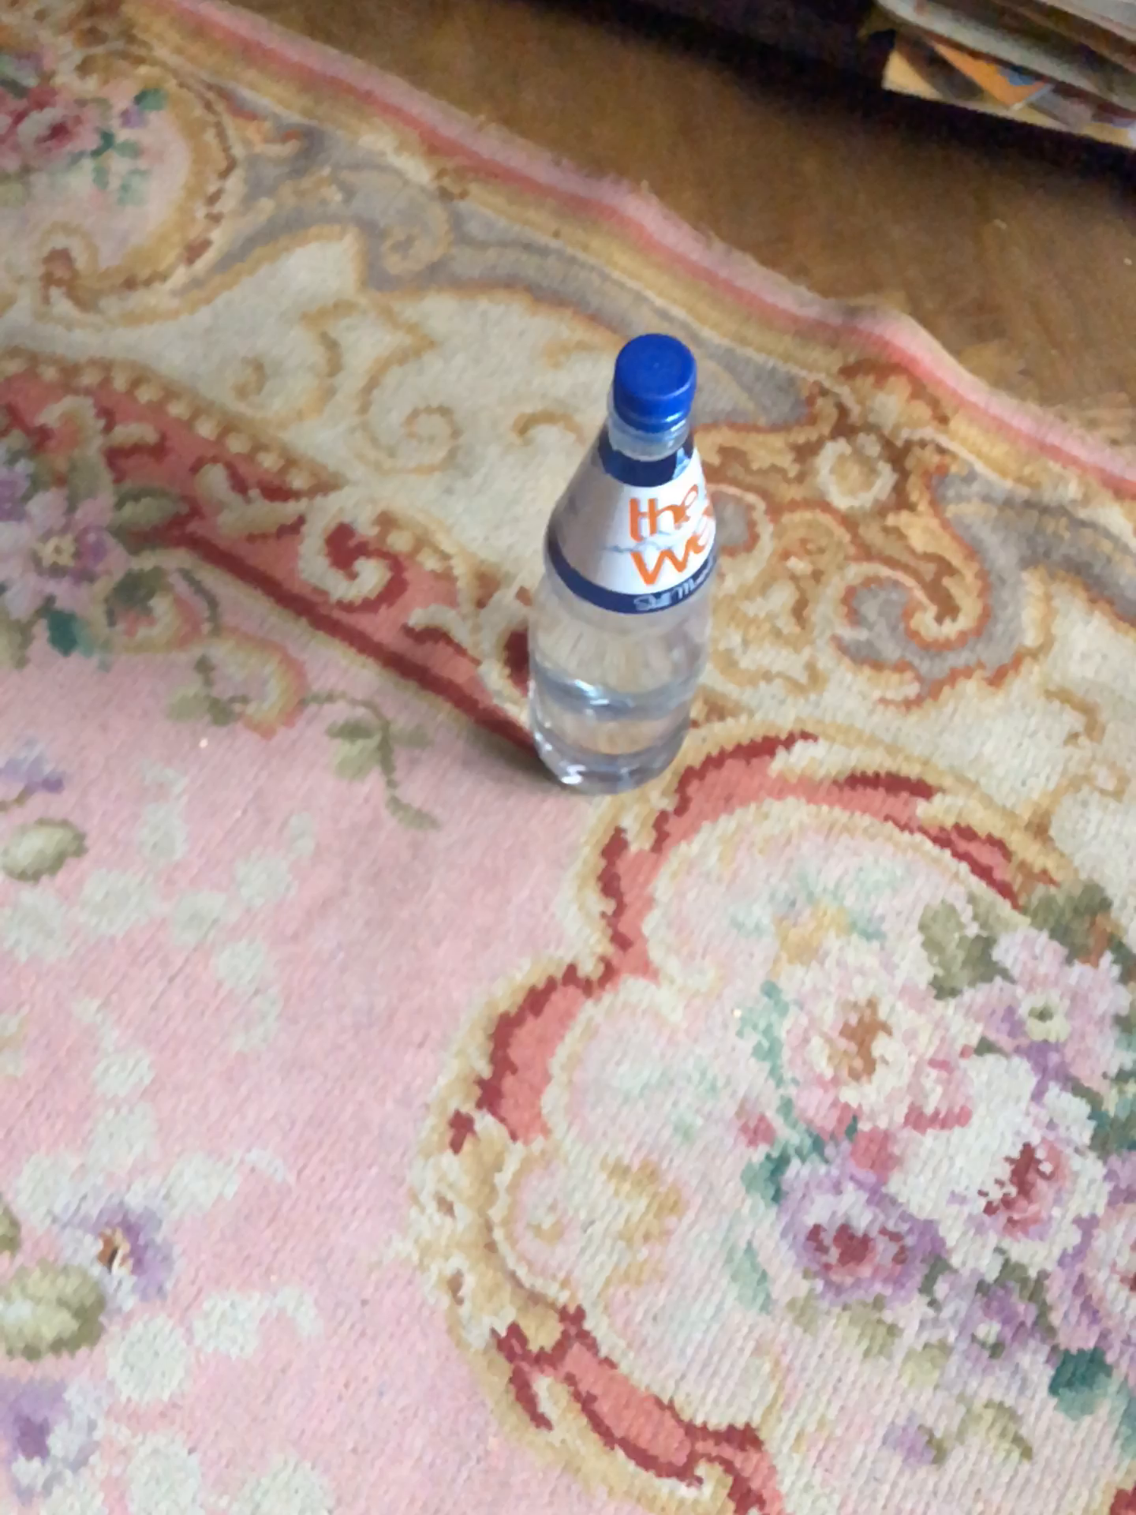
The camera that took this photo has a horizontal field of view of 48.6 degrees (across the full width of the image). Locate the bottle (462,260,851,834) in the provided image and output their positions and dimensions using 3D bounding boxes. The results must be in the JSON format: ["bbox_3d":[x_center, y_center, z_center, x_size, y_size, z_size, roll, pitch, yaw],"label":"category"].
[{"bbox_3d":[0.026,-0.076,0.613,0.110,0.309,0.100,1,69,-2],"label":"bottle"}]
